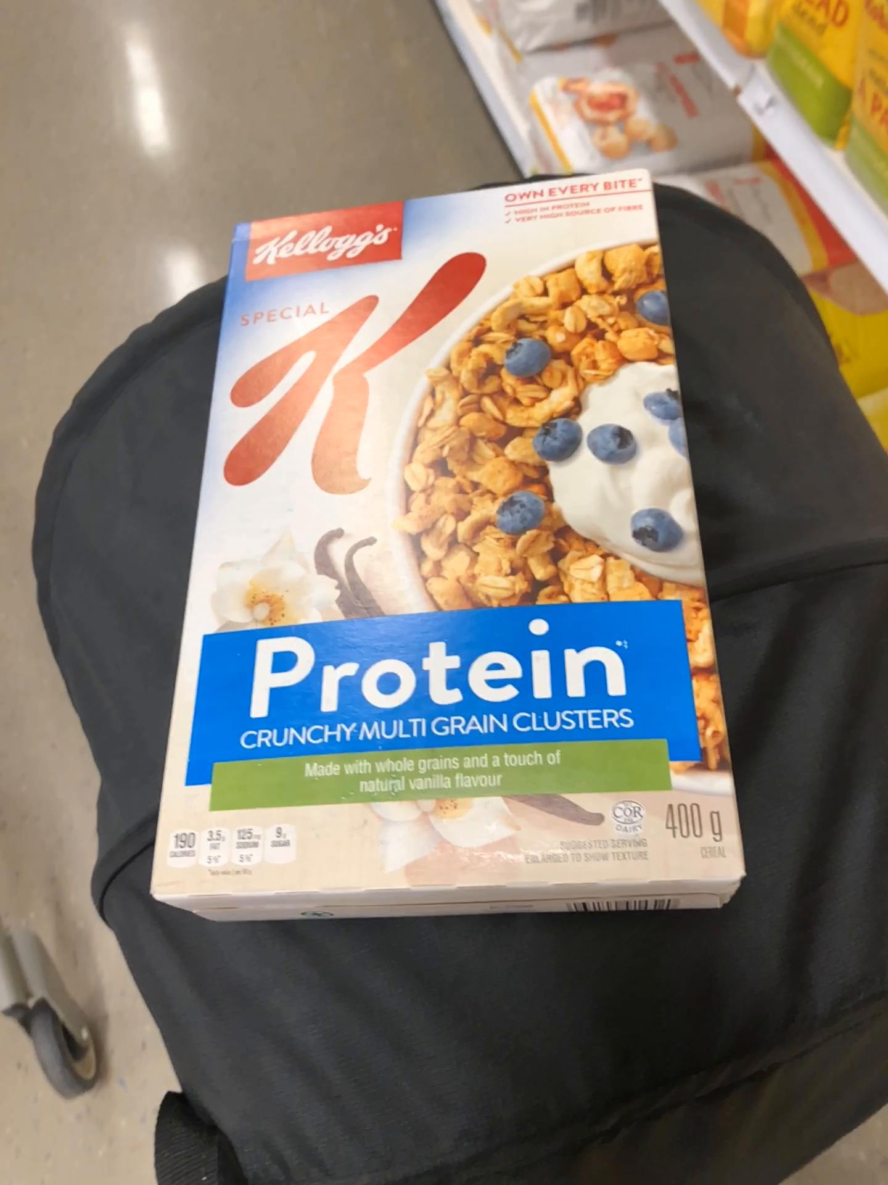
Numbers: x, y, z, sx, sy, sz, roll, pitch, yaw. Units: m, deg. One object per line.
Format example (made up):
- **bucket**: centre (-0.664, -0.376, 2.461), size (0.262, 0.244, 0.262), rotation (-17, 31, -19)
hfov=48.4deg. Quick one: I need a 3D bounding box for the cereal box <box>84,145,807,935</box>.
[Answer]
- **cereal box**: centre (0.001, -0.029, 0.341), size (0.190, 0.050, 0.271), rotation (-4, 61, 9)
